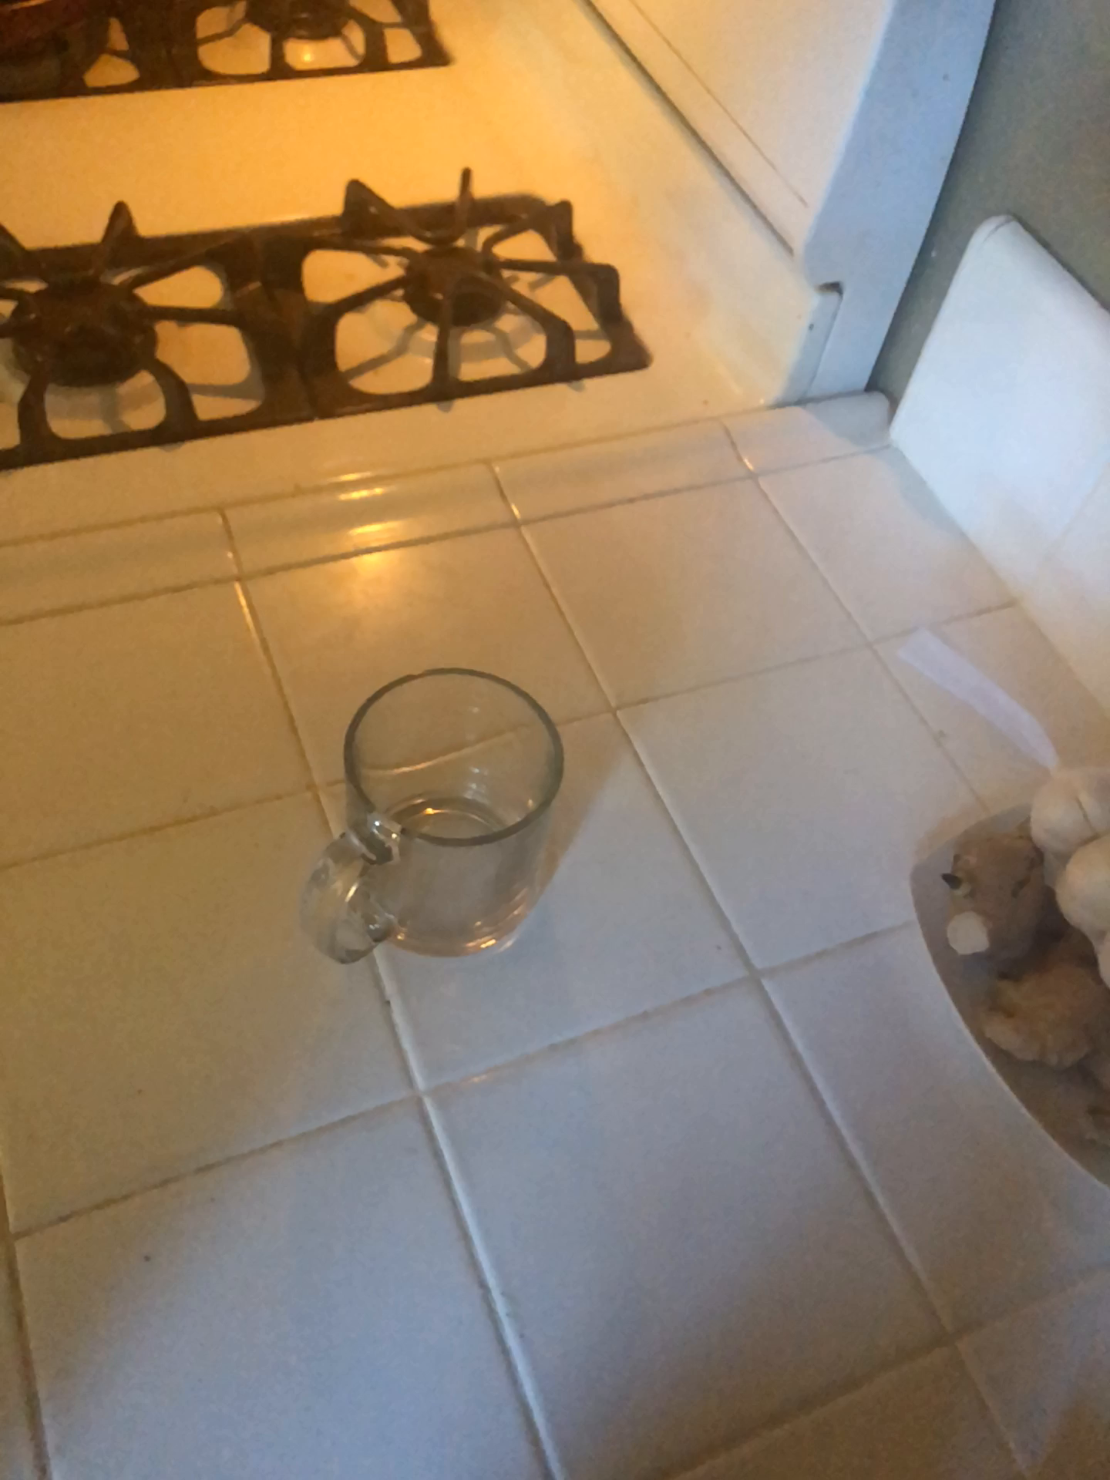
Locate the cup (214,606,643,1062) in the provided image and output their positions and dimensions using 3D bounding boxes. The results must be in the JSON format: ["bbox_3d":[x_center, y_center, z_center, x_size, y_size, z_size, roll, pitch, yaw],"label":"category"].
[{"bbox_3d":[-0.048,0.035,0.491,0.100,0.079,0.131,33,56,16],"label":"cup"}]
